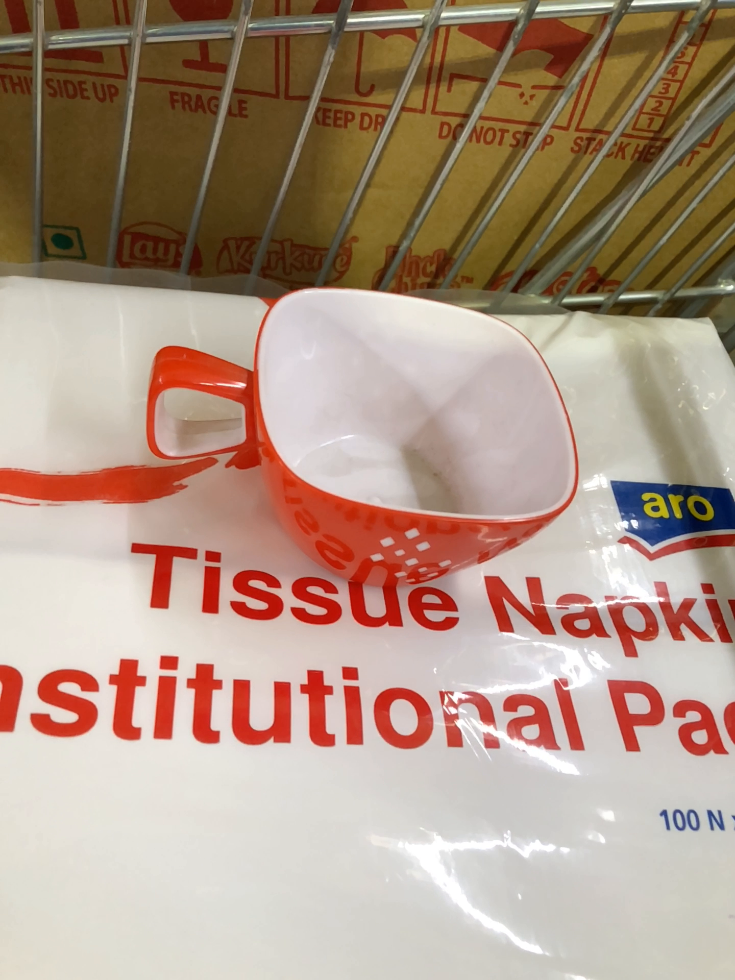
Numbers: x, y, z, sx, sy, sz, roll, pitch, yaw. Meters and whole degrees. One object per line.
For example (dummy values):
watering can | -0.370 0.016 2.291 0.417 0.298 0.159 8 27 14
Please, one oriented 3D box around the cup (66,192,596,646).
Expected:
cup | -0.013 -0.015 0.228 0.120 0.060 0.090 8 57 -17
